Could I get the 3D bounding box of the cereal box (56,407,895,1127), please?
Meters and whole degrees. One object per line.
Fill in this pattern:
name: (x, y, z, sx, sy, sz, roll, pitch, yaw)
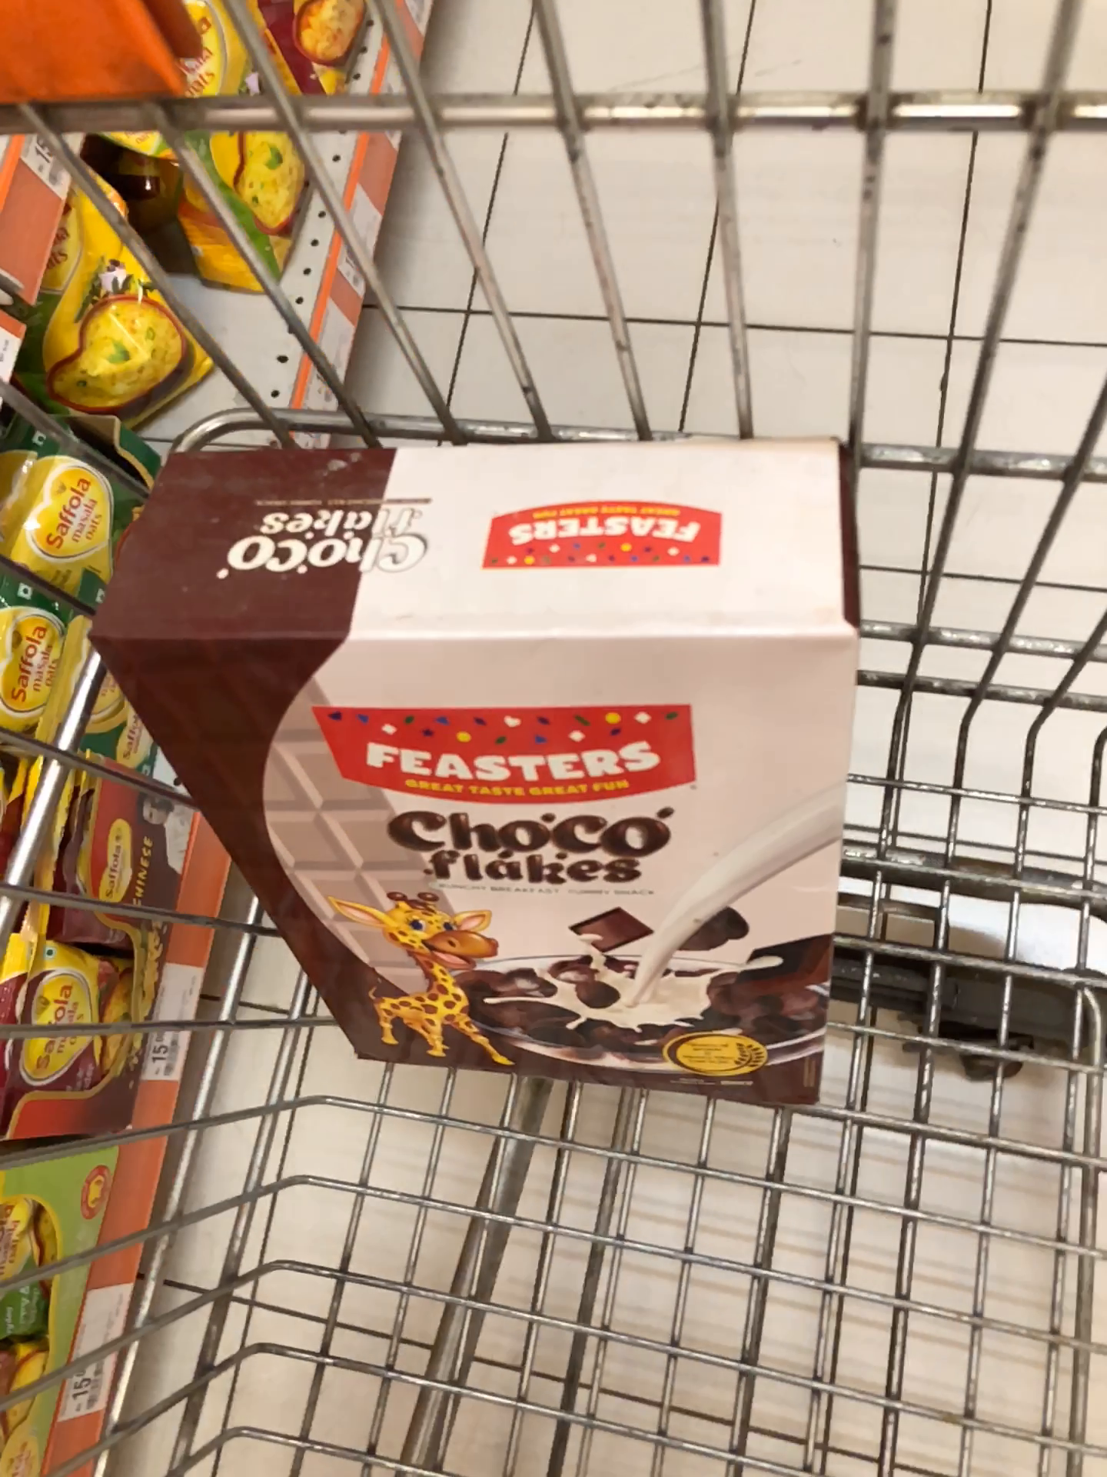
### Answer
cereal box: (0.001, 0.027, 0.353, 0.170, 0.239, 0.070, 1, 52, 11)
